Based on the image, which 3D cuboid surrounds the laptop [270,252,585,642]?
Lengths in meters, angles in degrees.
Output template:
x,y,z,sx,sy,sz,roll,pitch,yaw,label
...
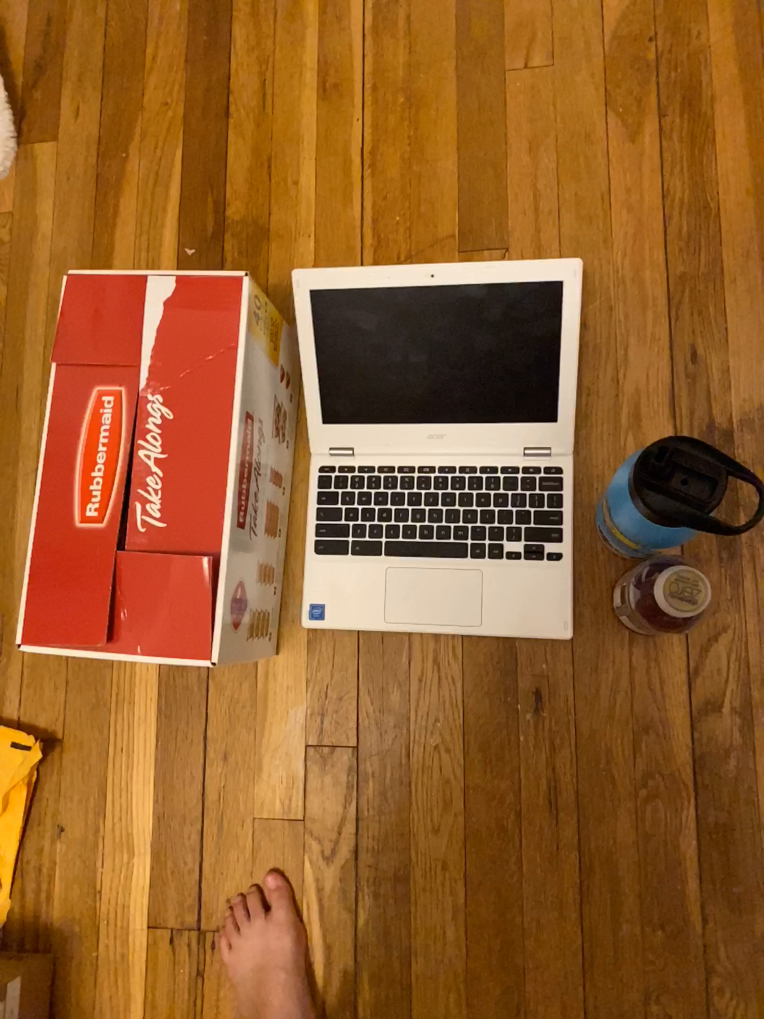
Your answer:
x,y,z,sx,sy,sz,roll,pitch,yaw,label
0.052,-0.056,0.794,0.289,0.110,0.364,1,82,12,laptop
